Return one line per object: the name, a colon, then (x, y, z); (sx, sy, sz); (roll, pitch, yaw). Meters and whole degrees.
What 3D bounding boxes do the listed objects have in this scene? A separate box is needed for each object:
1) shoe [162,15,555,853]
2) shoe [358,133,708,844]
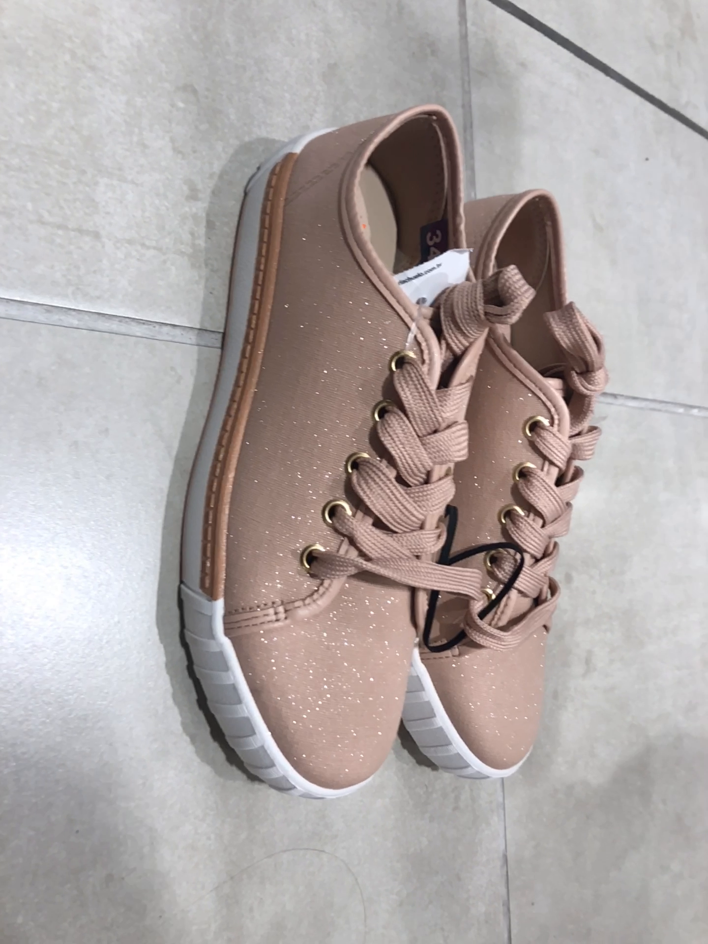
shoe: (0.004, -0.010, 0.288); (0.091, 0.099, 0.240); (9, 80, -40)
shoe: (0.073, 0.006, 0.332); (0.091, 0.099, 0.240); (1, 85, -41)
